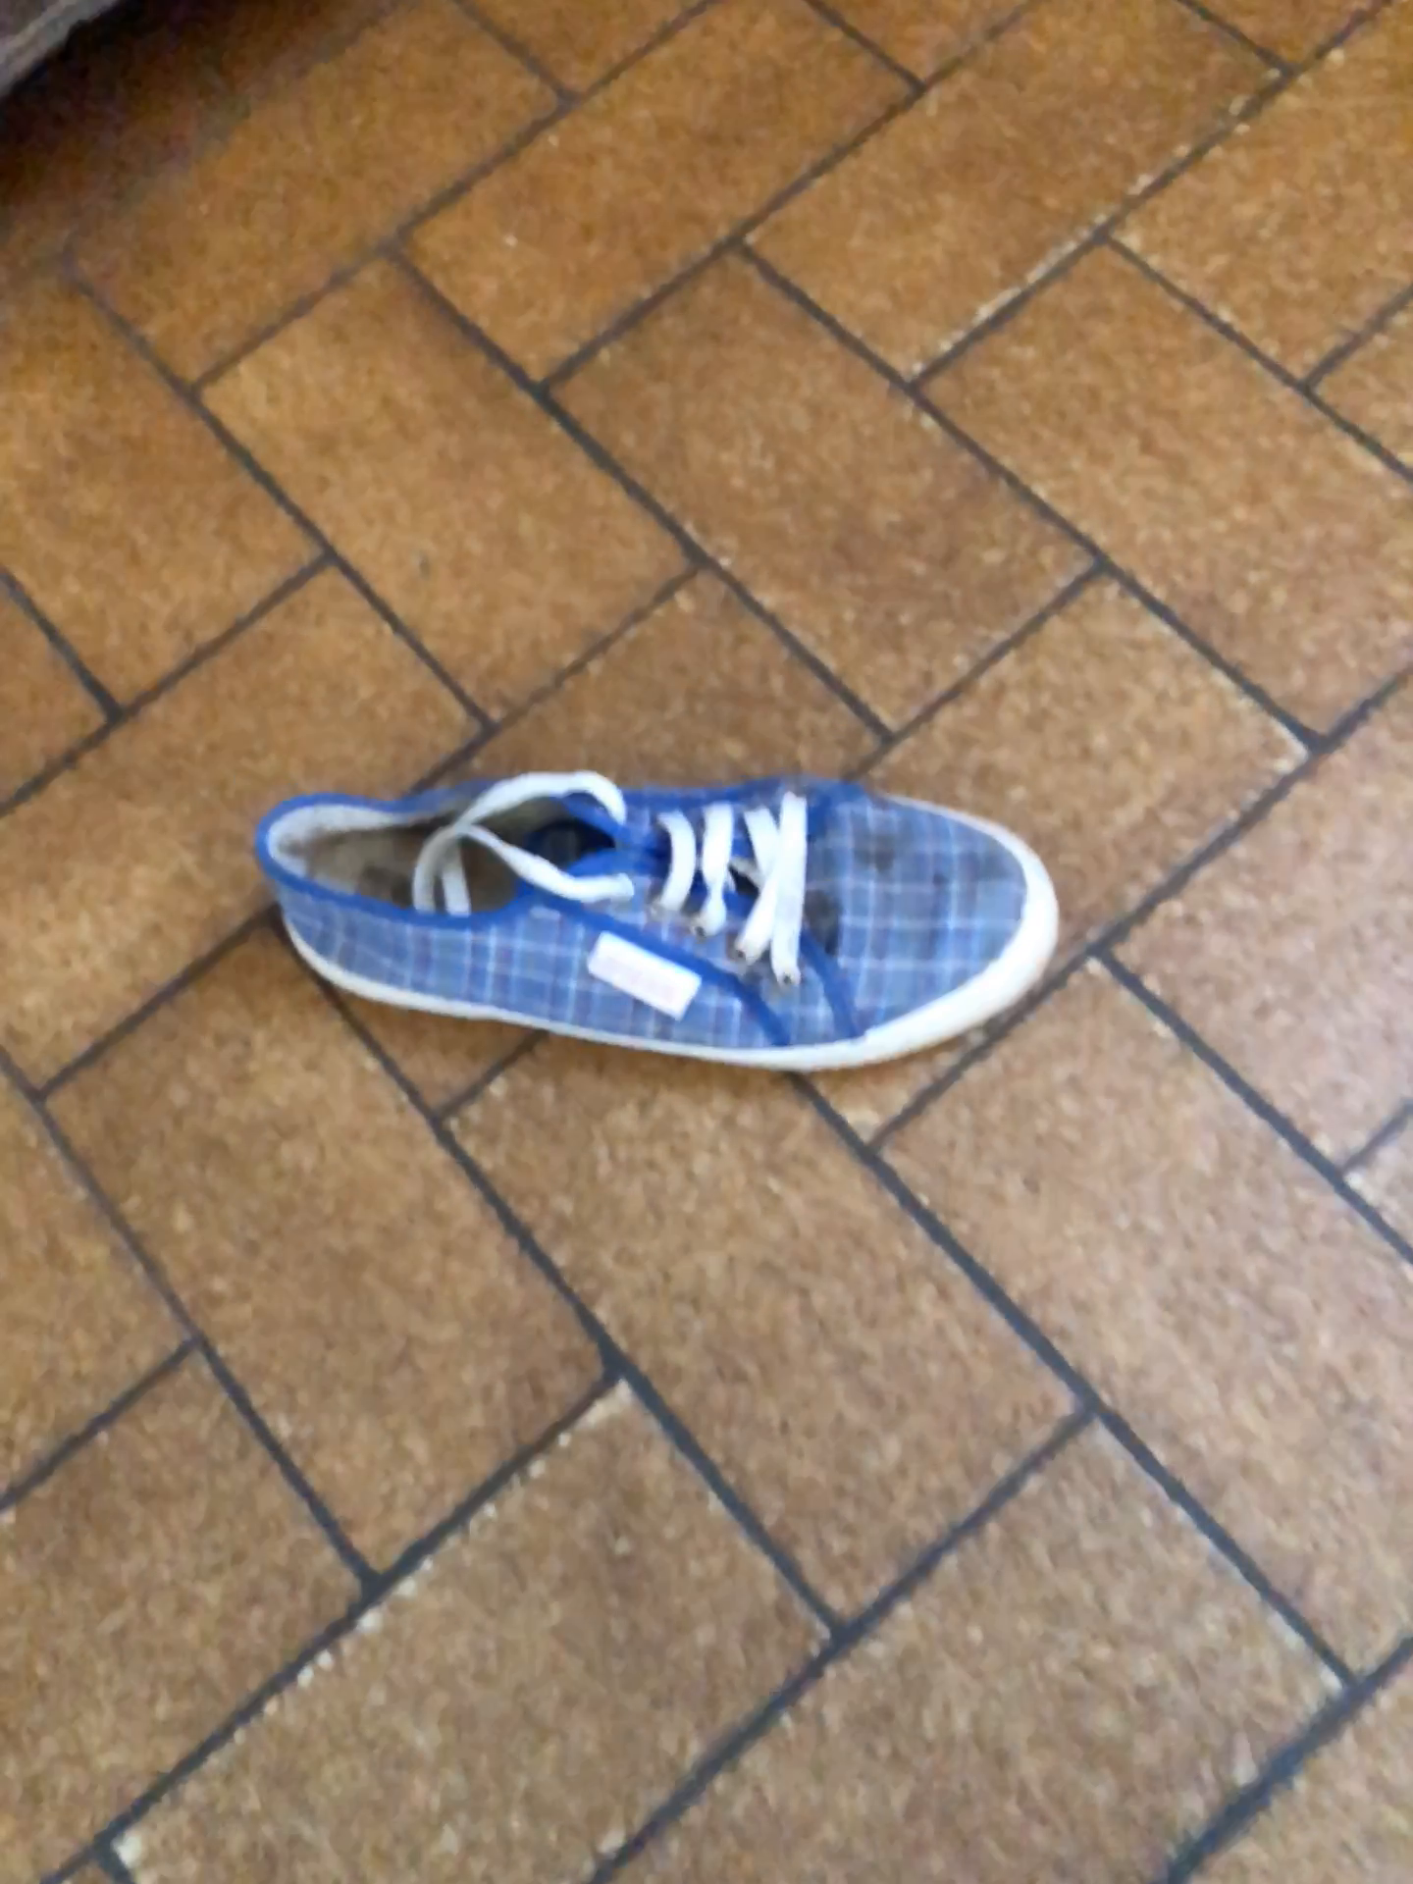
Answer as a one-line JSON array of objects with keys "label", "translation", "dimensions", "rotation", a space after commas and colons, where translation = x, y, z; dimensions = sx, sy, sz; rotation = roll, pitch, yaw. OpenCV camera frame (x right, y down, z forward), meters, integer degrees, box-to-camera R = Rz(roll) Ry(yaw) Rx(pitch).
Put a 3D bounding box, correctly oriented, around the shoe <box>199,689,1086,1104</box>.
[{"label": "shoe", "translation": [-0.015, -0.010, 0.472], "dimensions": [0.240, 0.080, 0.100], "rotation": [0, 72, 7]}]
